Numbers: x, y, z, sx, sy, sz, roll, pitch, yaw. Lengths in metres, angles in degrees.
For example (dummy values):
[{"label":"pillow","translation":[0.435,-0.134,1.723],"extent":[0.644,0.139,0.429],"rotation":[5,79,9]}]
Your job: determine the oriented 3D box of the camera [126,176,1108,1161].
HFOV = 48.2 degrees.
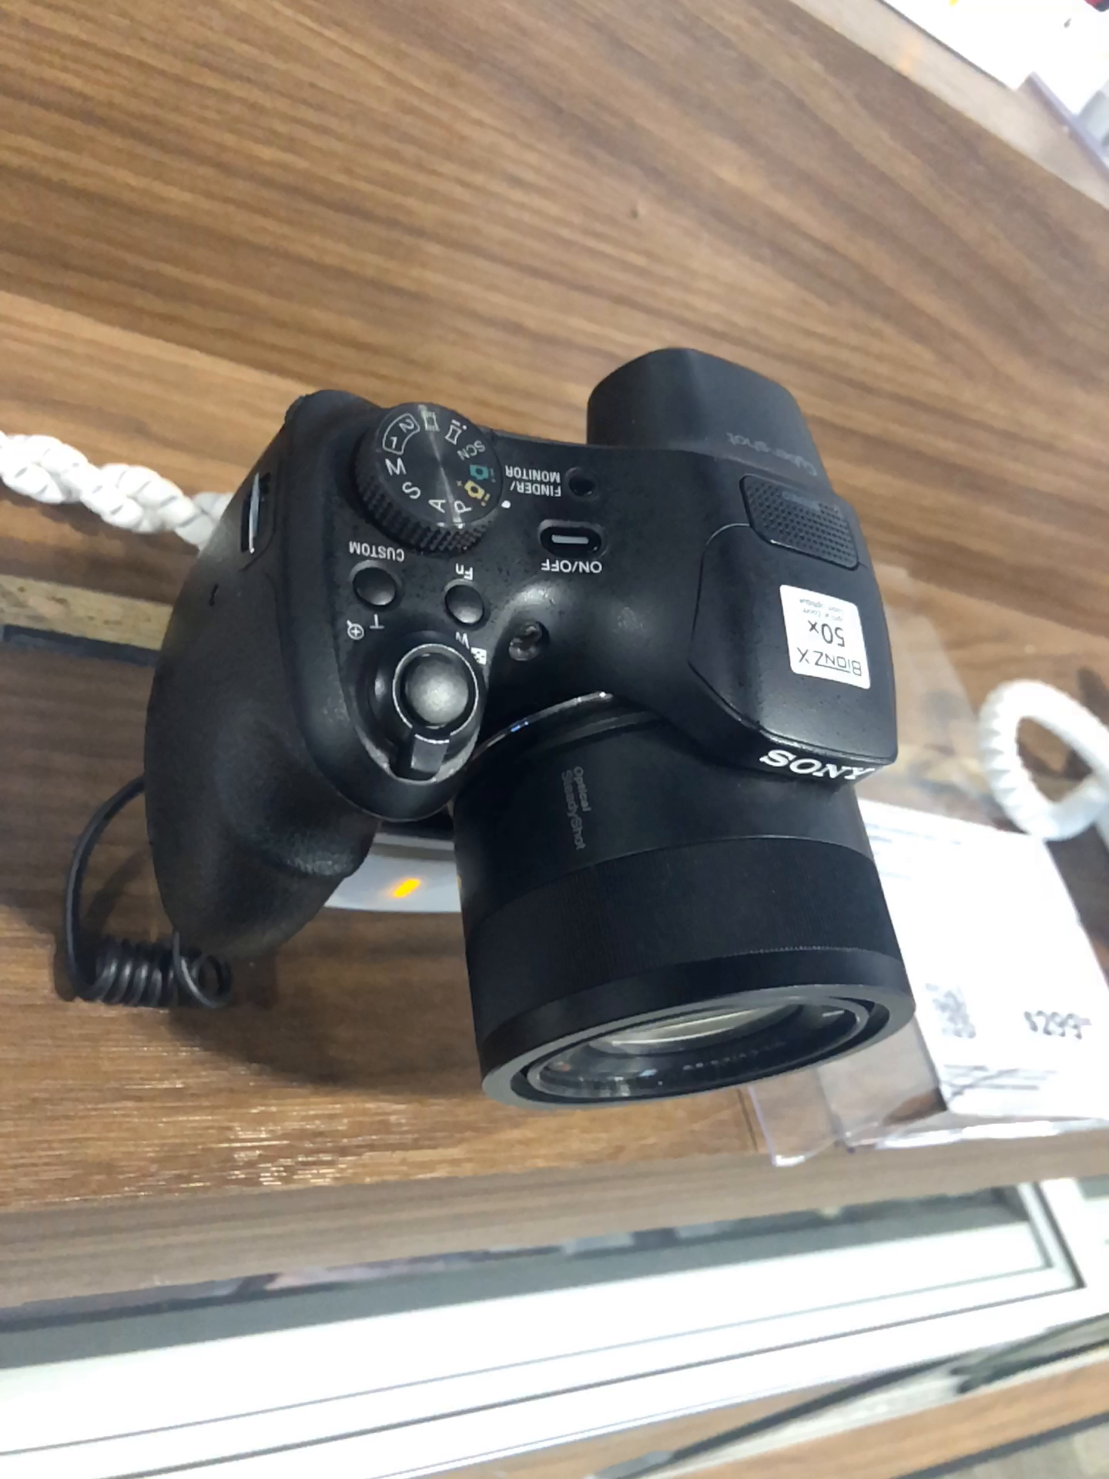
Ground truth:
[{"label":"camera","translation":[0.007,-0.003,0.207],"extent":[0.125,0.084,0.110],"rotation":[10,49,-34]}]
